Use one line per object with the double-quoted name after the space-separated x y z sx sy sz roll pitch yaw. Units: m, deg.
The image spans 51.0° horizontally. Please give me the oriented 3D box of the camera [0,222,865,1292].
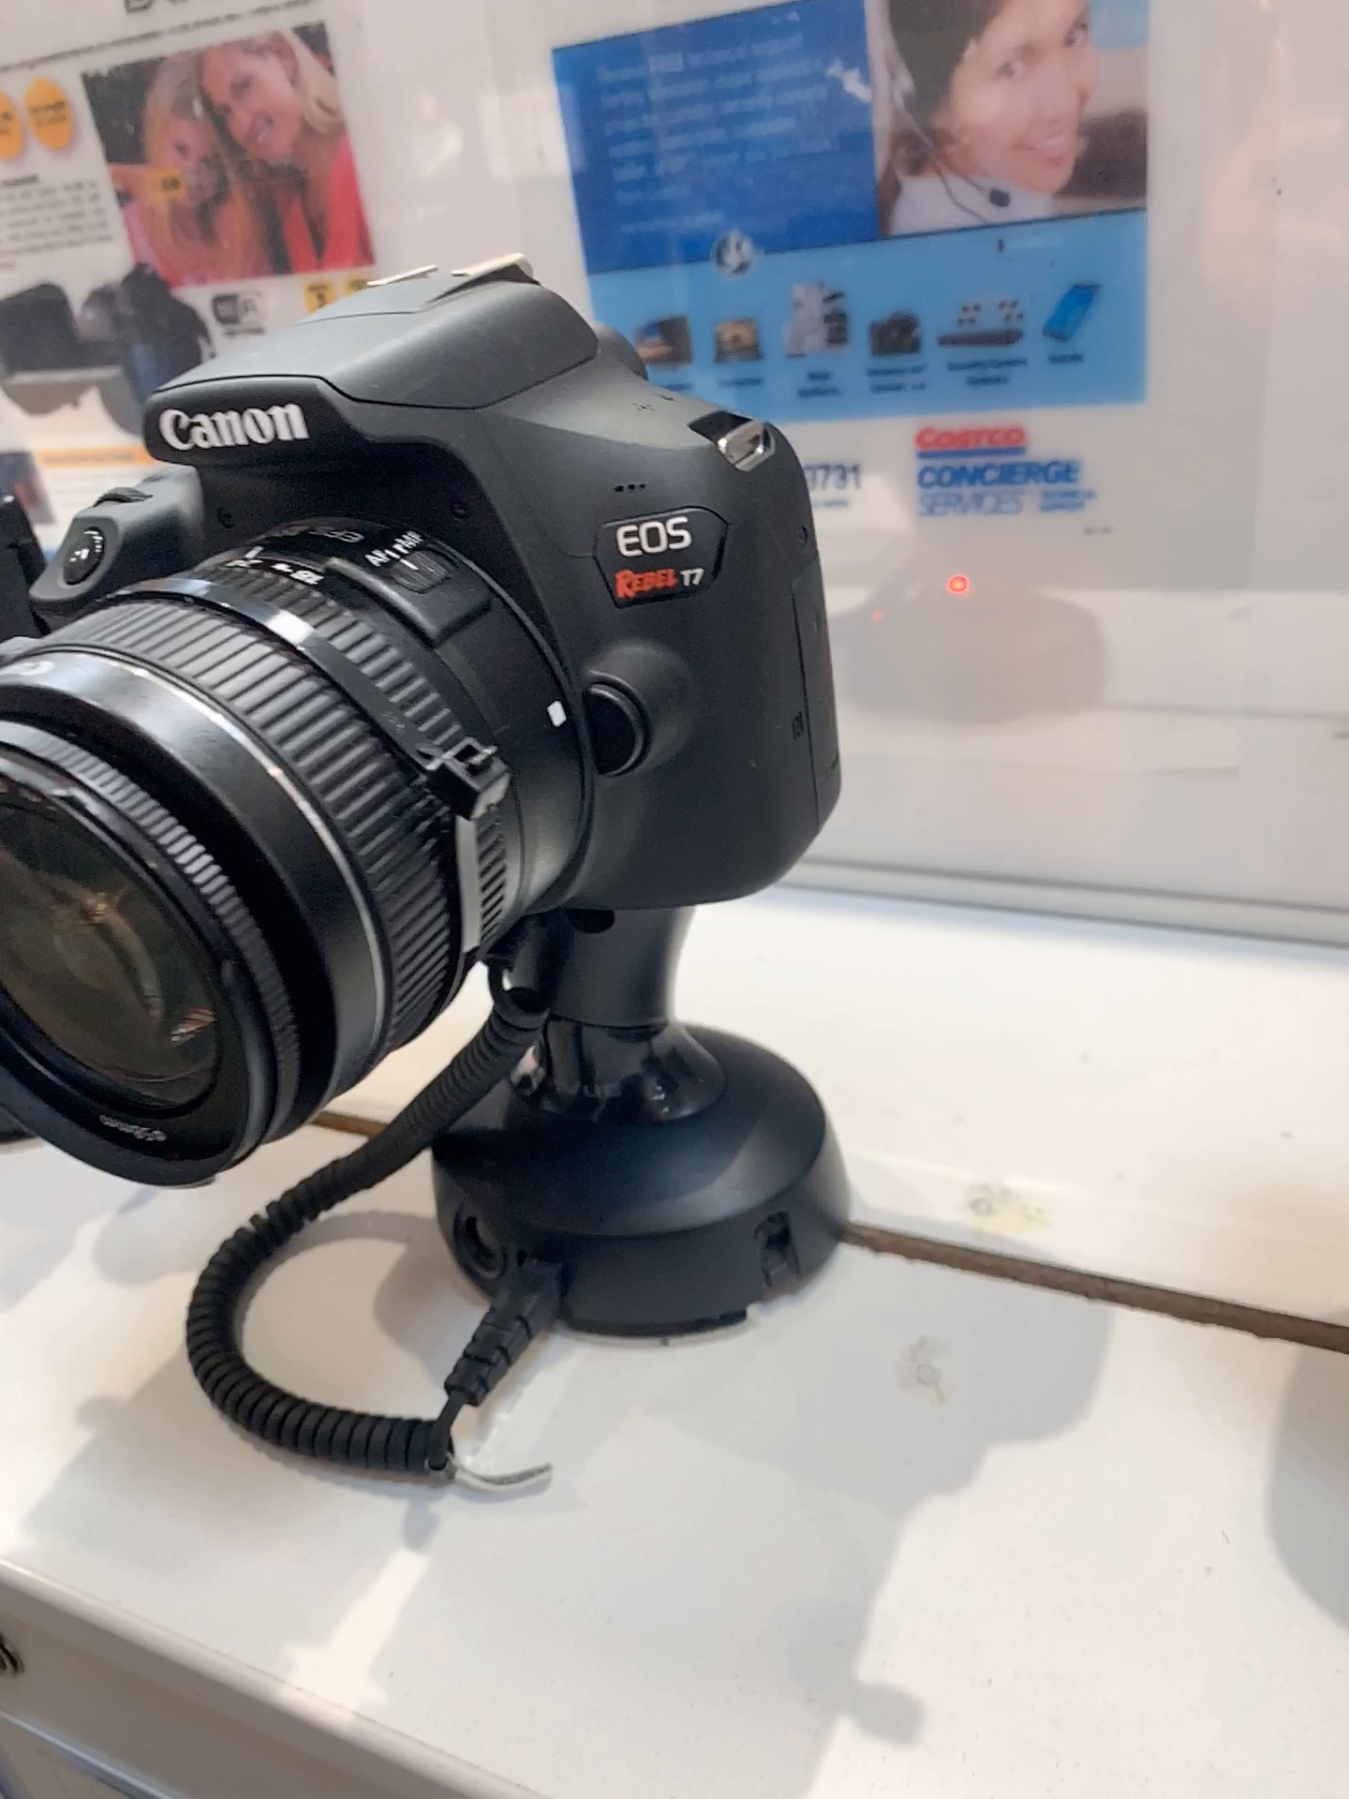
-0.050 -0.032 0.211 0.122 0.104 0.110 6 31 24 "camera"
